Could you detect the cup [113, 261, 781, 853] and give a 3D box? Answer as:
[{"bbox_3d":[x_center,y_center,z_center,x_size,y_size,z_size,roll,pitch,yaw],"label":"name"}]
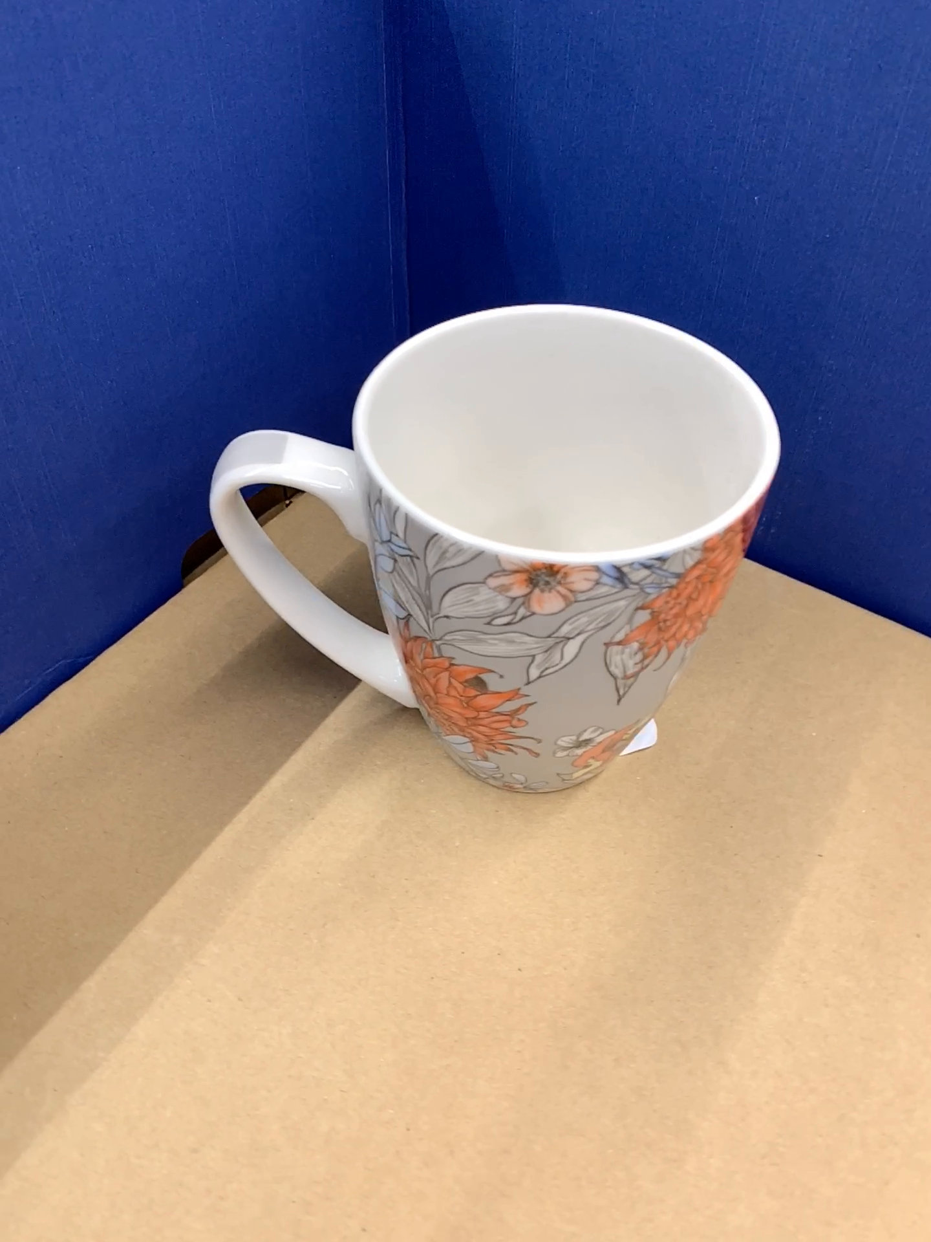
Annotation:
[{"bbox_3d":[0.002,-0.018,0.228,0.117,0.085,0.092,8,46,7],"label":"cup"}]
